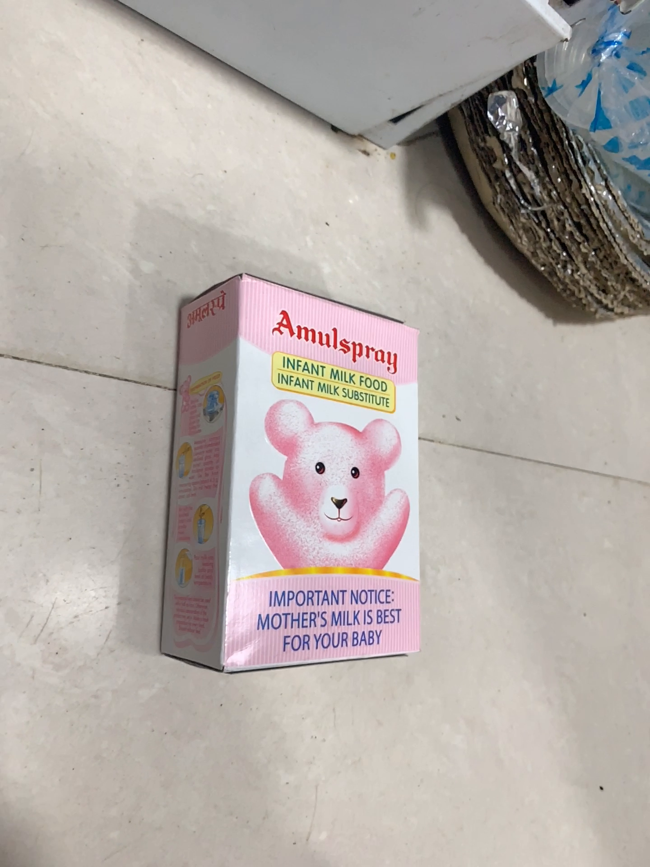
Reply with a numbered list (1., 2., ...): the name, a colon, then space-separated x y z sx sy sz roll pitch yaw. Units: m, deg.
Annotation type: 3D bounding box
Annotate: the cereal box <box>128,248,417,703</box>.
1. cereal box: -0.016 0.018 0.252 0.090 0.050 0.140 9 77 -38
